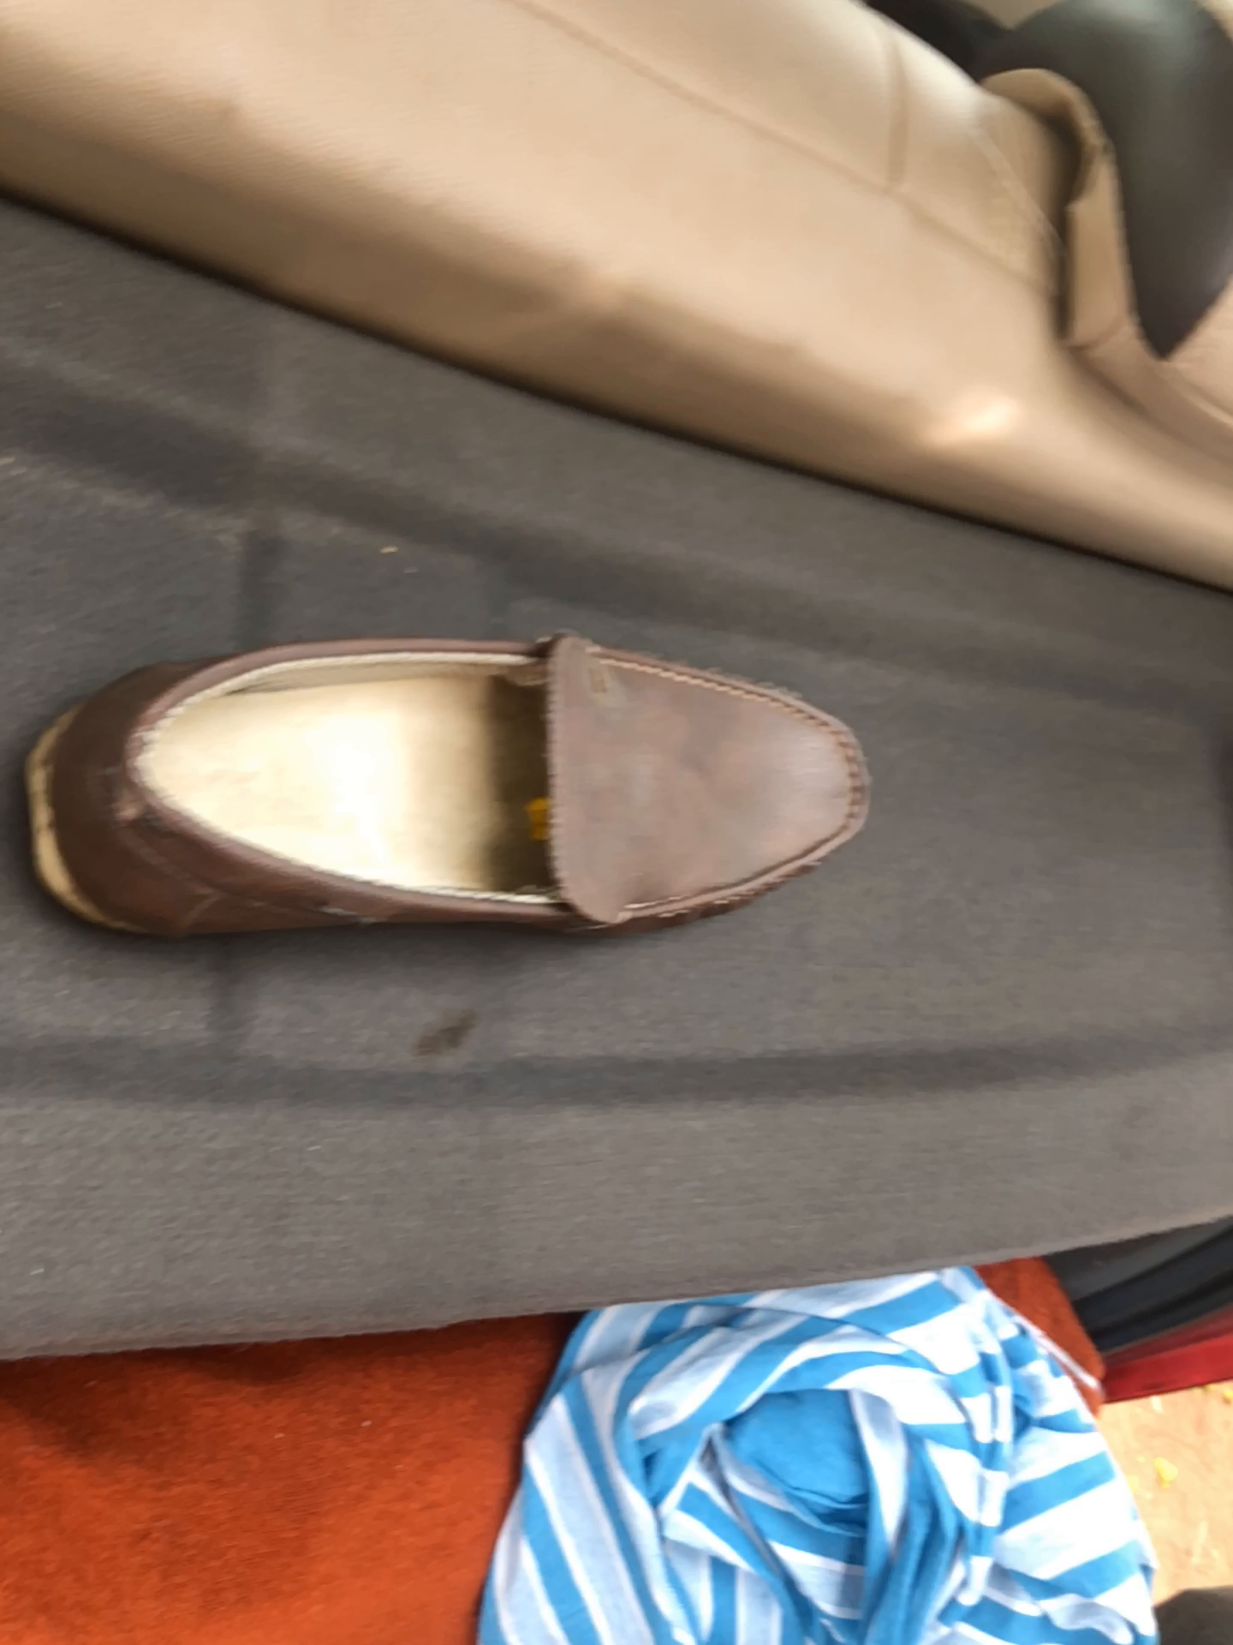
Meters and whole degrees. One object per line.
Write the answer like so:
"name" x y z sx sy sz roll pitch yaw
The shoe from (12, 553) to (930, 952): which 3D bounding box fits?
"shoe" -0.026 -0.009 0.391 0.261 0.050 0.080 3 72 -35
